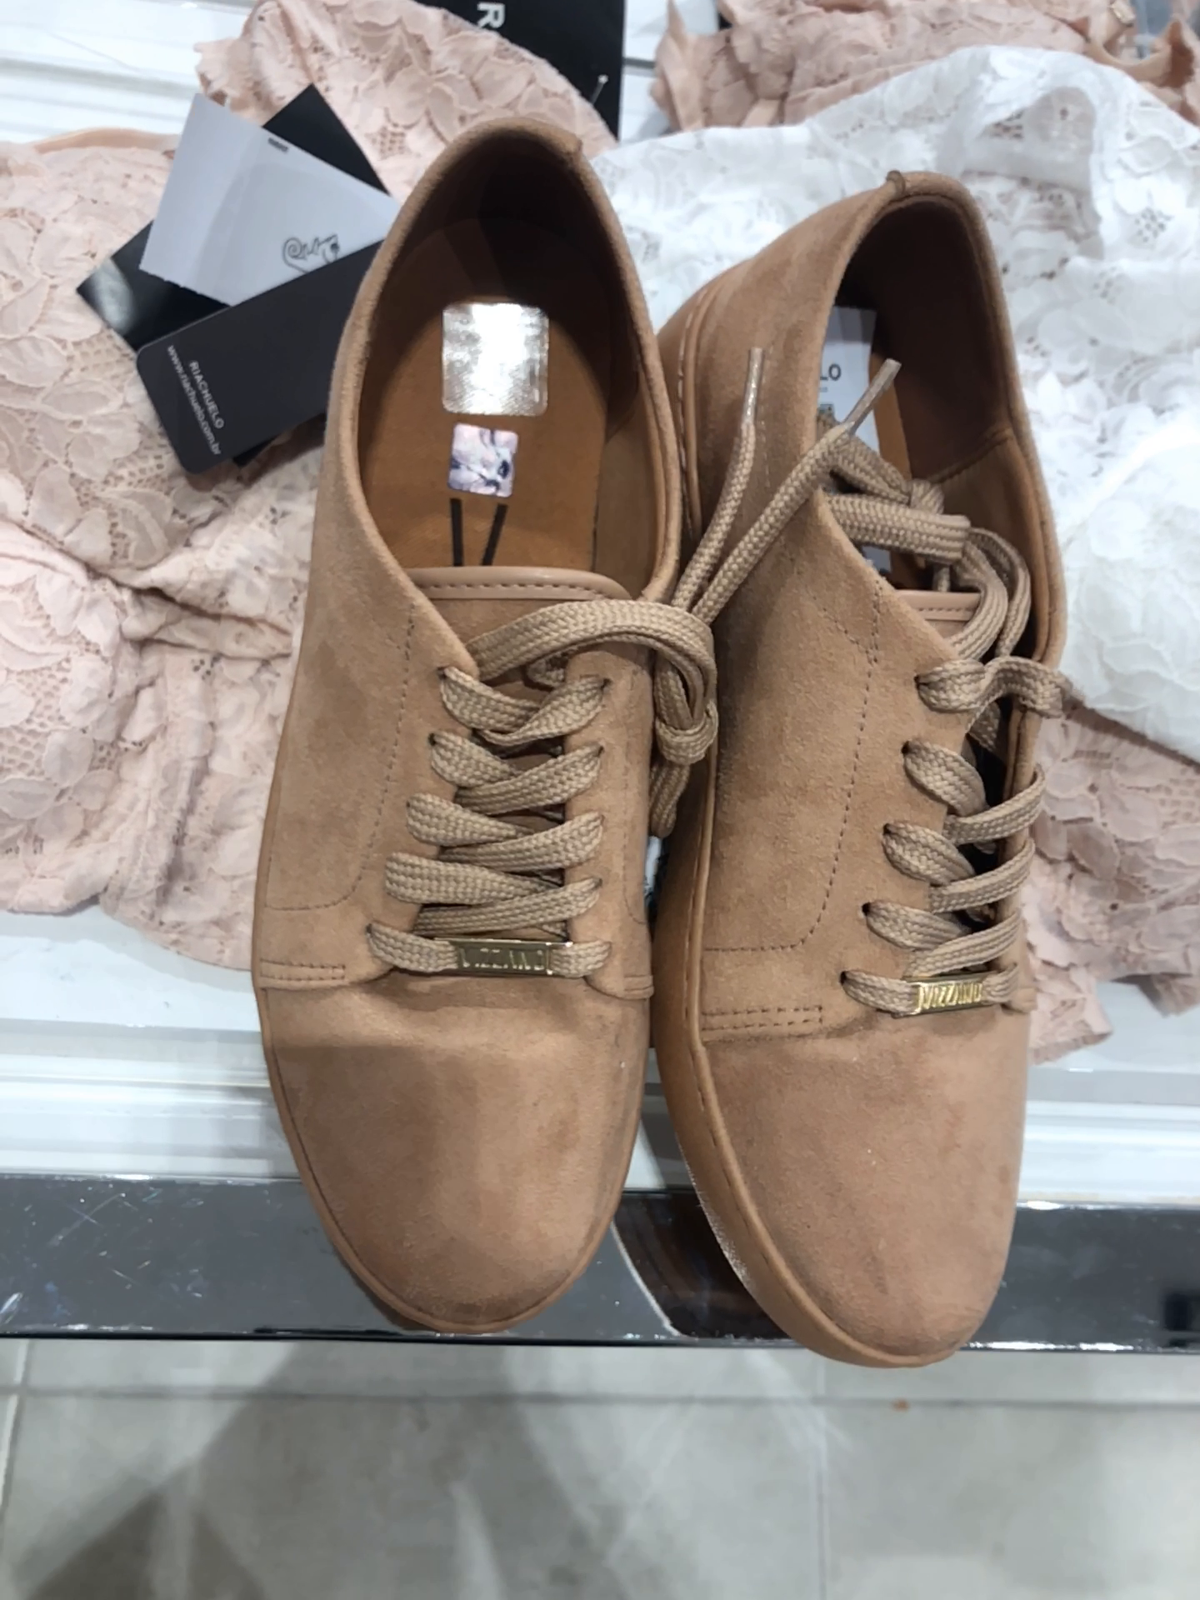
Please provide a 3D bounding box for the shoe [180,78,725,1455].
[{"bbox_3d":[-0.031,-0.006,0.289,0.090,0.100,0.240,2,86,-9],"label":"shoe"}]

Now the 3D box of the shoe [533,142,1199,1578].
[{"bbox_3d":[0.056,0.008,0.287,0.090,0.100,0.240,-2,83,-26],"label":"shoe"}]
